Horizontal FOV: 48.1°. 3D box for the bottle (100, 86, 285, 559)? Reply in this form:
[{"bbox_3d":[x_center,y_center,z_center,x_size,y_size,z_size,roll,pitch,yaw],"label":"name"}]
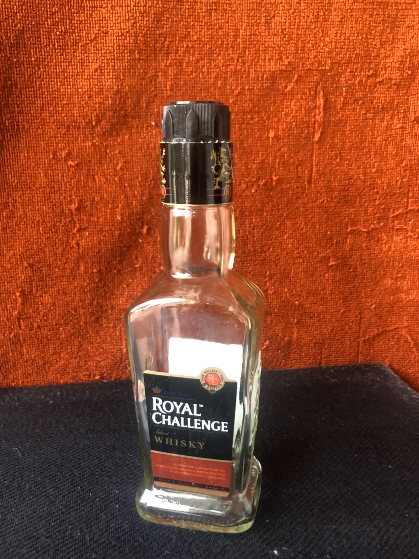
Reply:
[{"bbox_3d":[-0.006,0.022,0.202,0.060,0.189,0.050,5,16,10],"label":"bottle"}]
